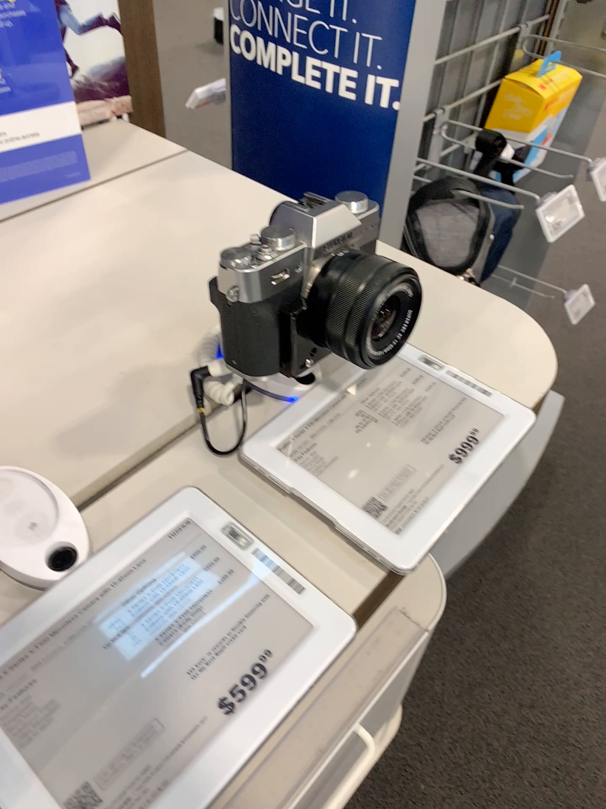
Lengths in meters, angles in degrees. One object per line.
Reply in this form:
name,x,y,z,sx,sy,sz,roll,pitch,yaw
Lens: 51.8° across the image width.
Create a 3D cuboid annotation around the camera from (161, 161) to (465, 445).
camera,0.006,-0.065,0.358,0.100,0.080,0.130,35,53,27
